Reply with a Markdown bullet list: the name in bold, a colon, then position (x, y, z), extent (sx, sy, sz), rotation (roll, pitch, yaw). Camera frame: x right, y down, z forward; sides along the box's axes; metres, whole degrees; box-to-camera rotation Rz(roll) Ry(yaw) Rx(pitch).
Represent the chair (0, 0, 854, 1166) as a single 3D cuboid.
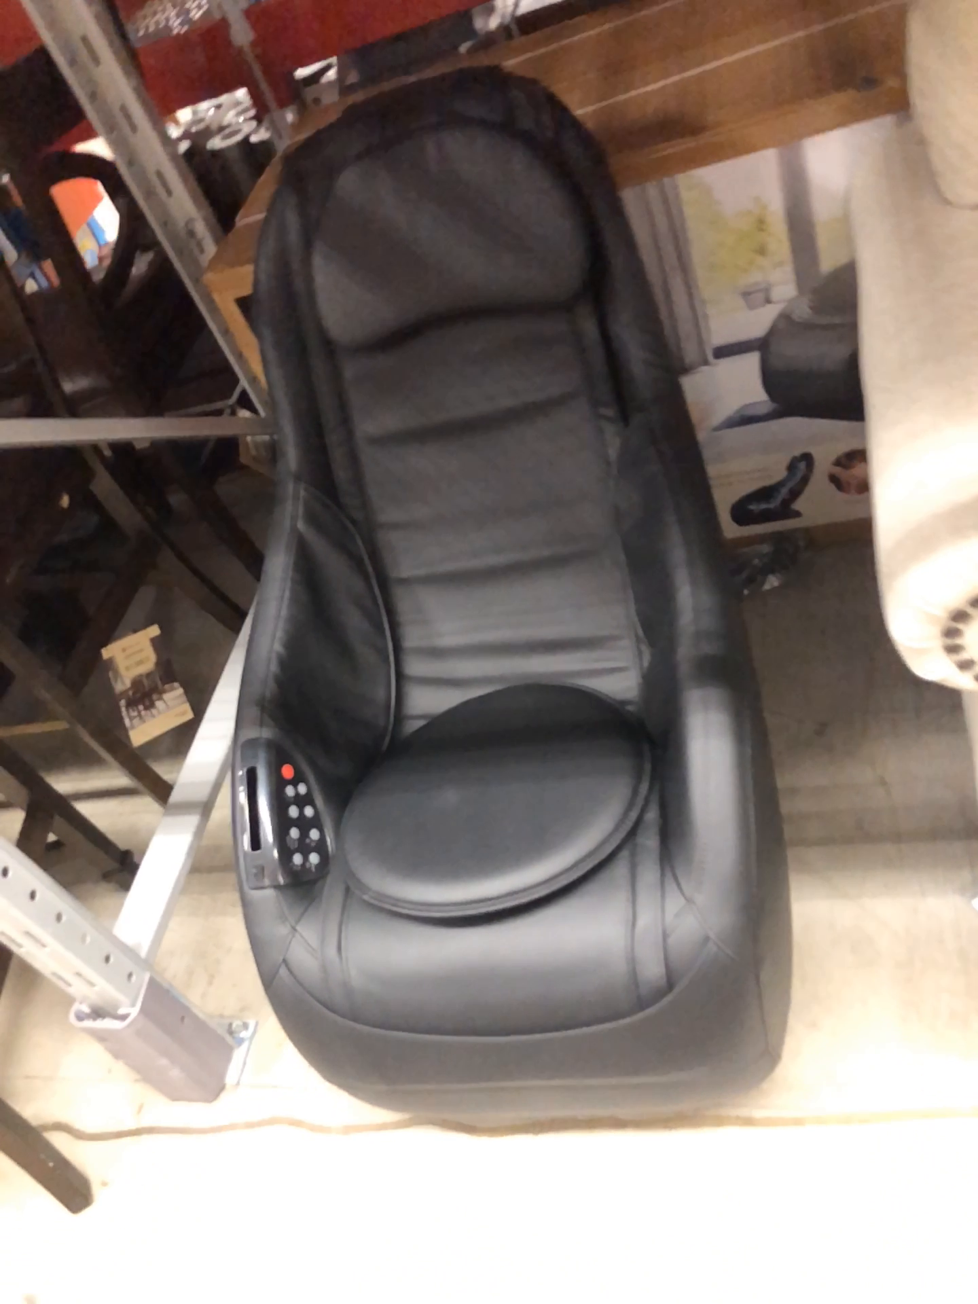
- **chair**: position (-0.072, -0.015, 1.068), extent (0.651, 0.848, 0.701), rotation (-10, 44, 18)
